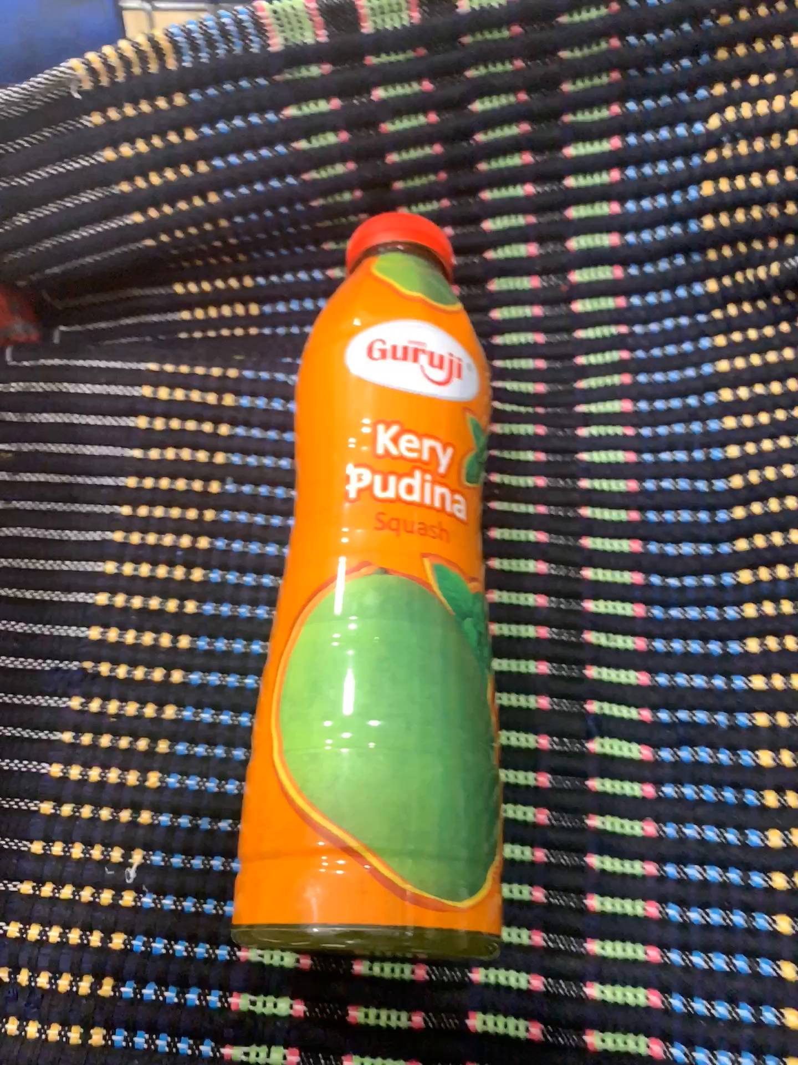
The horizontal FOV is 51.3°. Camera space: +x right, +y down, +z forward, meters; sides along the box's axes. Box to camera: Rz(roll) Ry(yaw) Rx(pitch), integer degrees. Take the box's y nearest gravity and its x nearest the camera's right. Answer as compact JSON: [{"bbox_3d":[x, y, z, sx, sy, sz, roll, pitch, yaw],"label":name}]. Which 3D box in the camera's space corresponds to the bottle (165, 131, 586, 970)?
[{"bbox_3d":[0.000,-0.002,0.250,0.070,0.070,0.231,26,54,-35],"label":"bottle"}]
